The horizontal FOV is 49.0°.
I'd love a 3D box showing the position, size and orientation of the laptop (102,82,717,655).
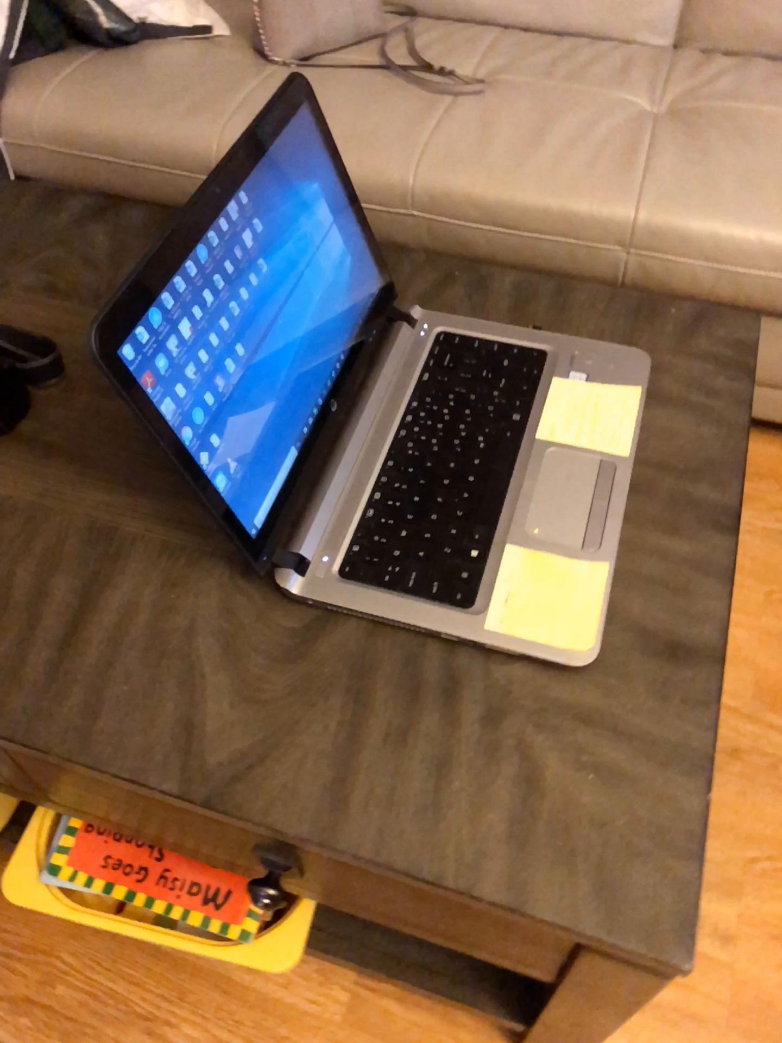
[{"bbox_3d":[0.036,-0.126,0.624,0.313,0.203,0.316,13,53,12],"label":"laptop"}]
